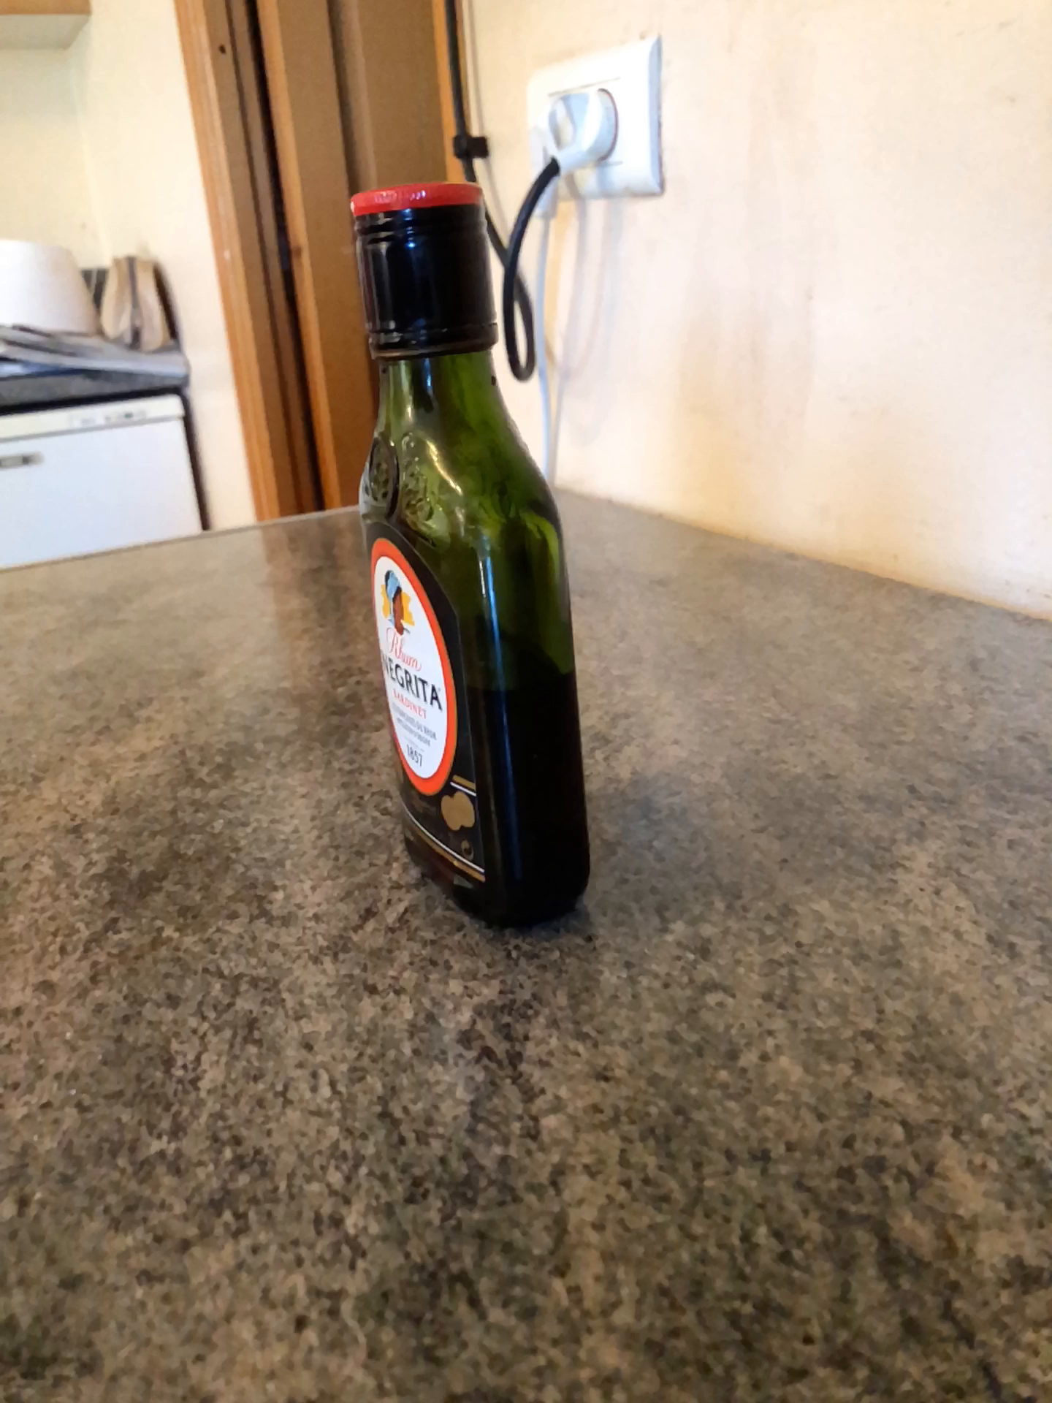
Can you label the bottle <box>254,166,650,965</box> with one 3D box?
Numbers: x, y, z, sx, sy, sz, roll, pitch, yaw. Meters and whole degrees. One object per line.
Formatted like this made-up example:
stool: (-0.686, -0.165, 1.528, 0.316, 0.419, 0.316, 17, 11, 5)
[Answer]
bottle: (-0.017, -0.033, 0.274, 0.050, 0.159, 0.080, -14, 21, -24)
